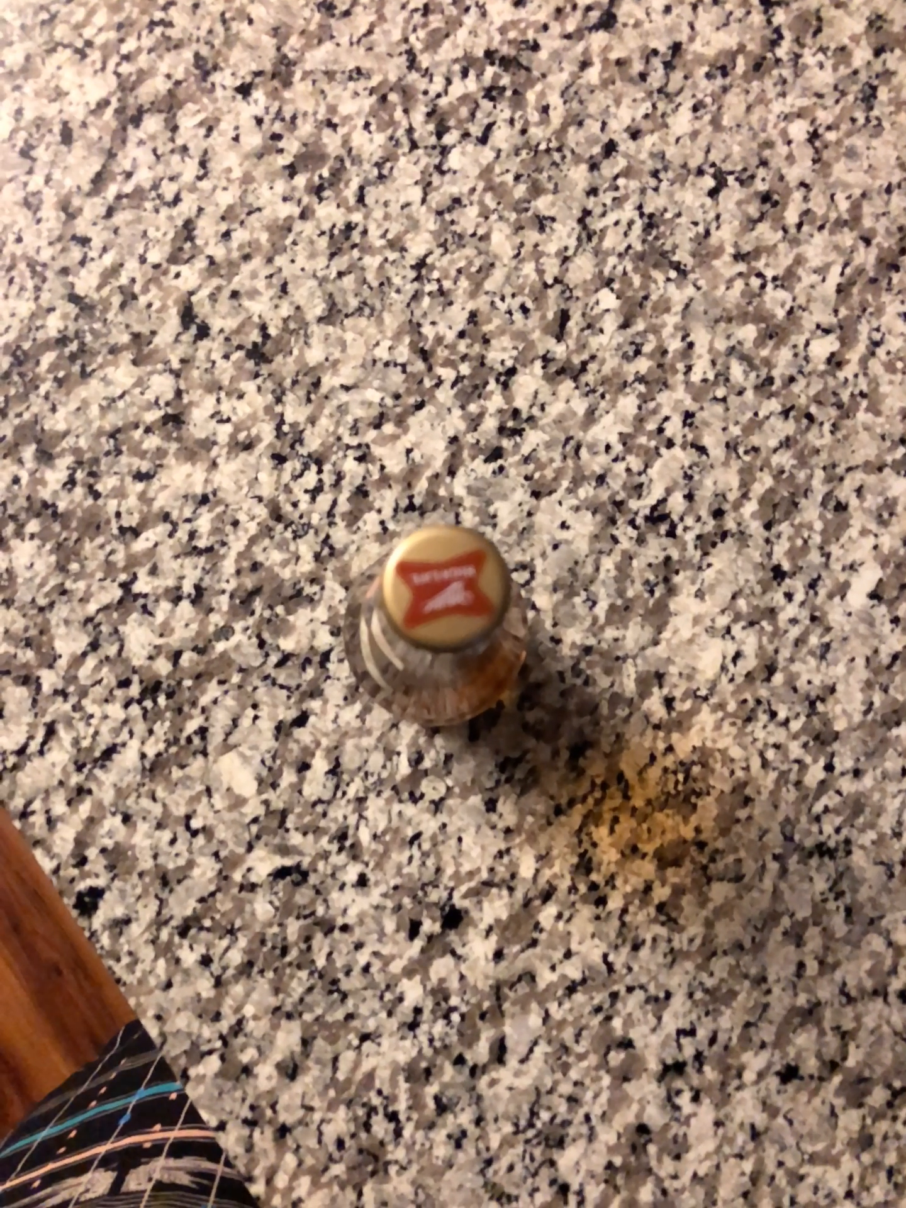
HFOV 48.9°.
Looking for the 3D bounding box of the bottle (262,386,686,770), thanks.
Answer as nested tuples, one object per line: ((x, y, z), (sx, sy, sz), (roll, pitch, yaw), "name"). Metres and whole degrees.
((0.003, 0.004, 0.306), (0.070, 0.230, 0.060), (13, 85, 0), "bottle")
